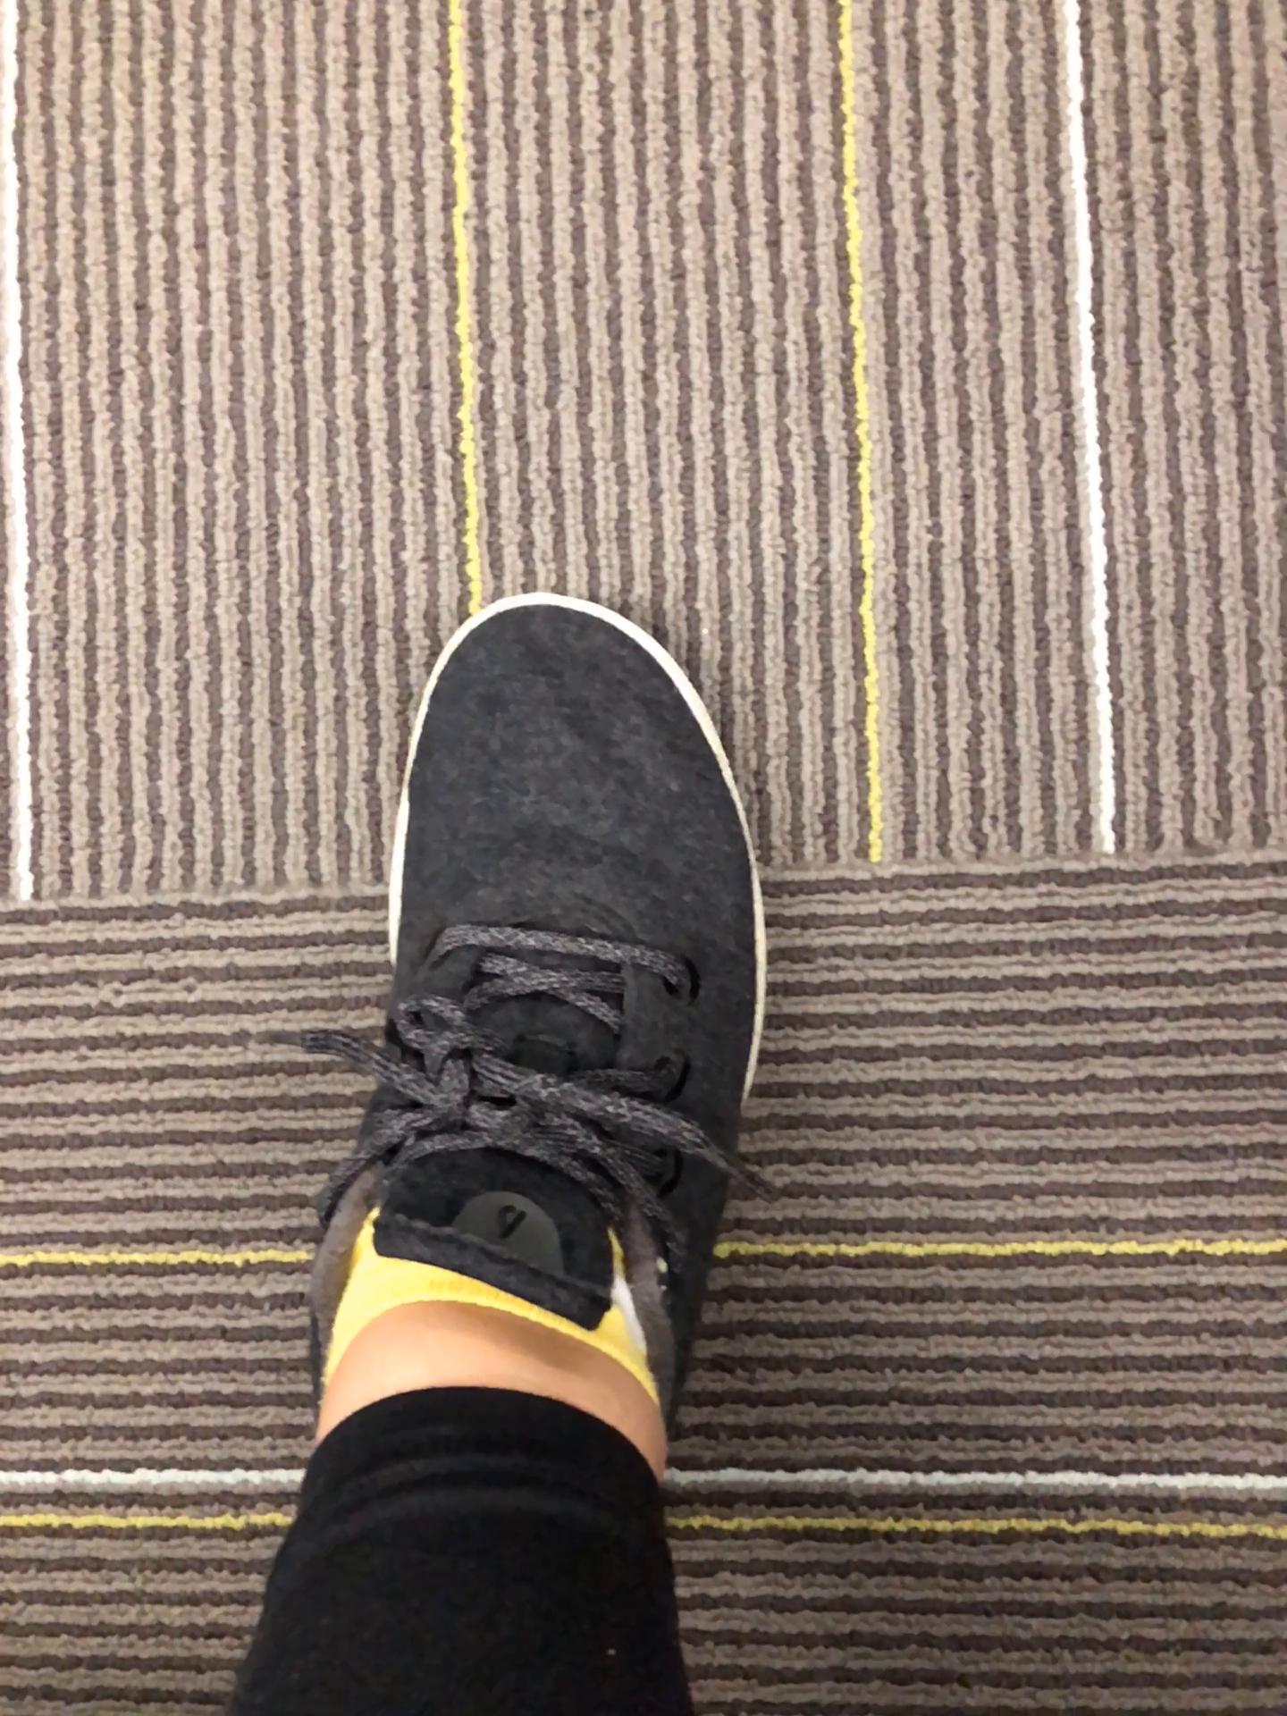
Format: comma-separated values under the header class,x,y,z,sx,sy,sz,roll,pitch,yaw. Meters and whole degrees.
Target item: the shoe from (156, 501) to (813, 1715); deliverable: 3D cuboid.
class,x,y,z,sx,sy,sz,roll,pitch,yaw
shoe,-0.029,0.060,0.327,0.120,0.080,0.260,3,89,6
